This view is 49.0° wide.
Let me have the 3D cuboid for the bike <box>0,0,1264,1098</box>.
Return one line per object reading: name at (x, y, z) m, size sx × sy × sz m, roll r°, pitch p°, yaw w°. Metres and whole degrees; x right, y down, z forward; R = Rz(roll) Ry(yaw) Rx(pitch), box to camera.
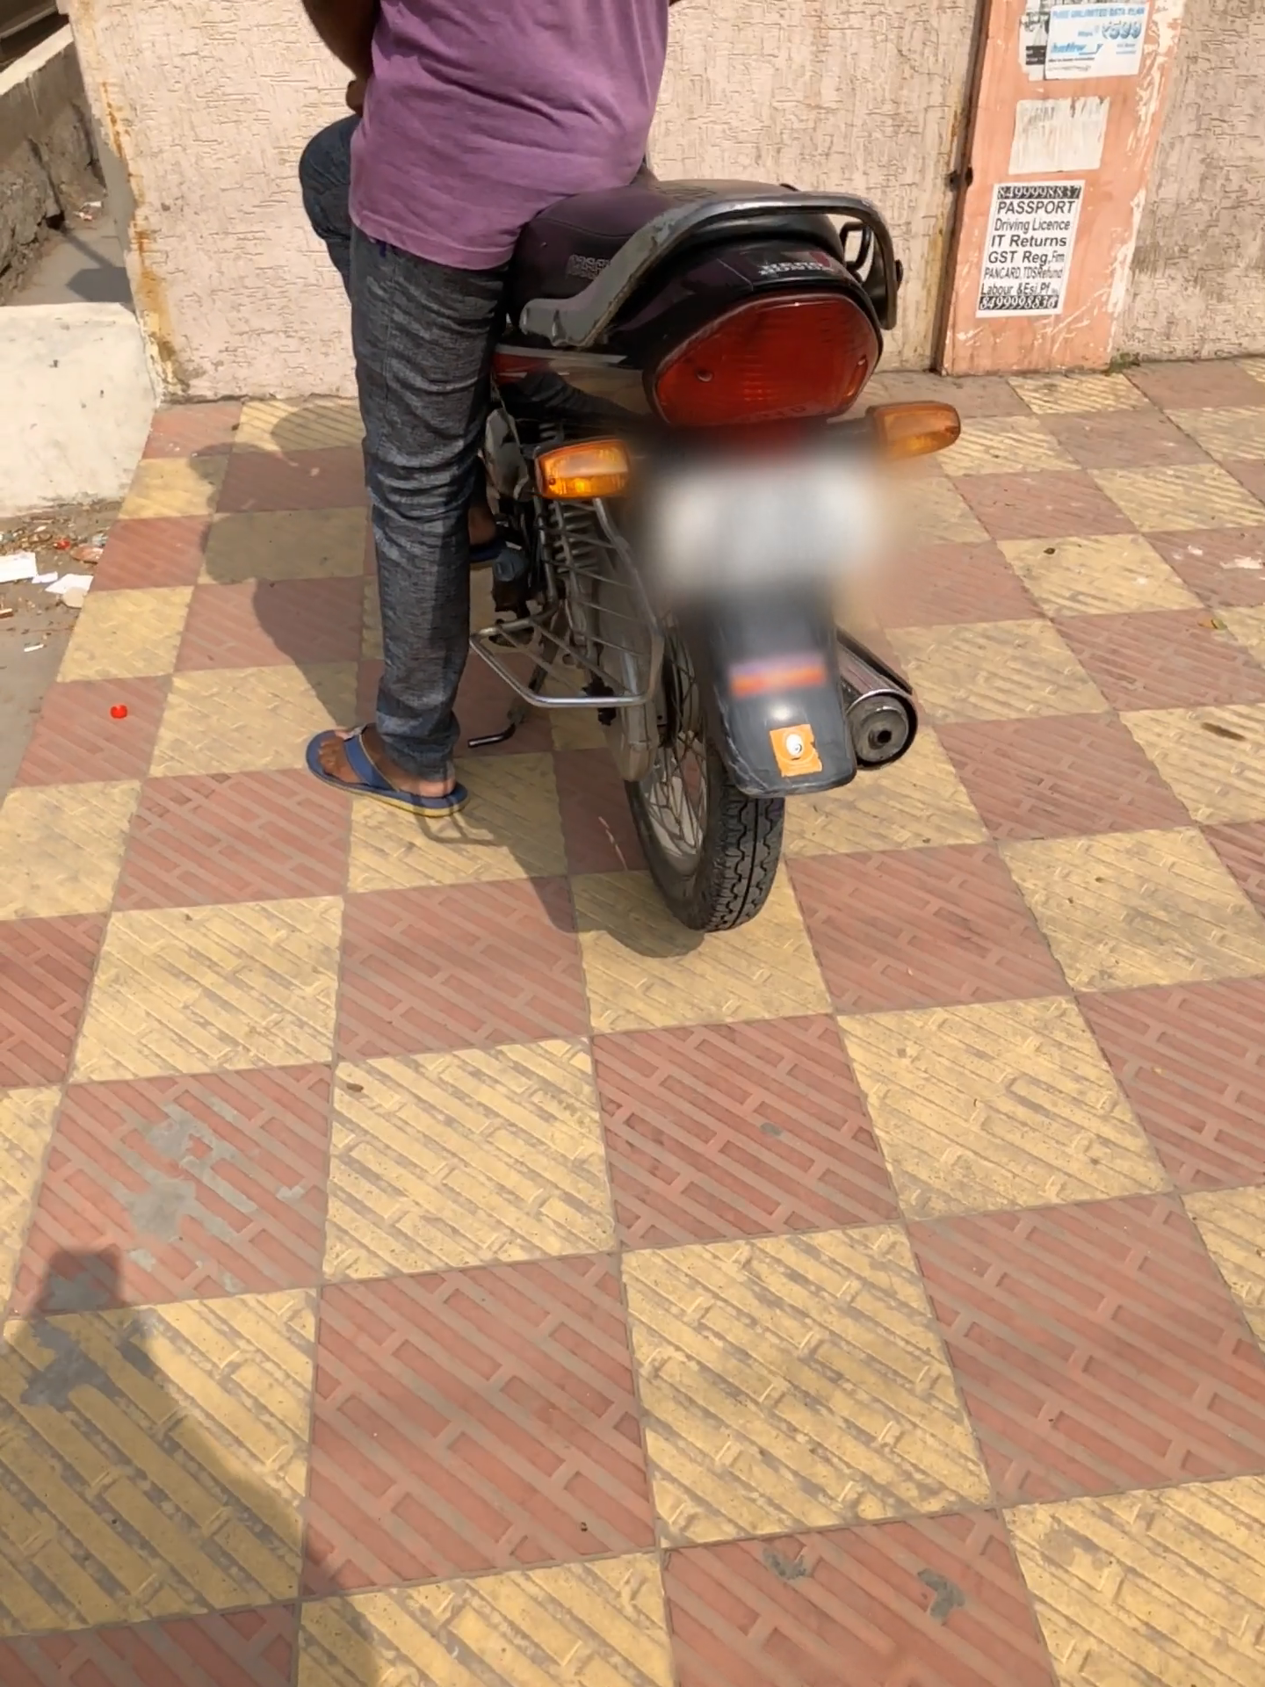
bike at (-0.265, -0.712, 1.937) m, size 0.893 × 1.066 × 1.729 m, roll -14°, pitch 41°, yaw -17°
